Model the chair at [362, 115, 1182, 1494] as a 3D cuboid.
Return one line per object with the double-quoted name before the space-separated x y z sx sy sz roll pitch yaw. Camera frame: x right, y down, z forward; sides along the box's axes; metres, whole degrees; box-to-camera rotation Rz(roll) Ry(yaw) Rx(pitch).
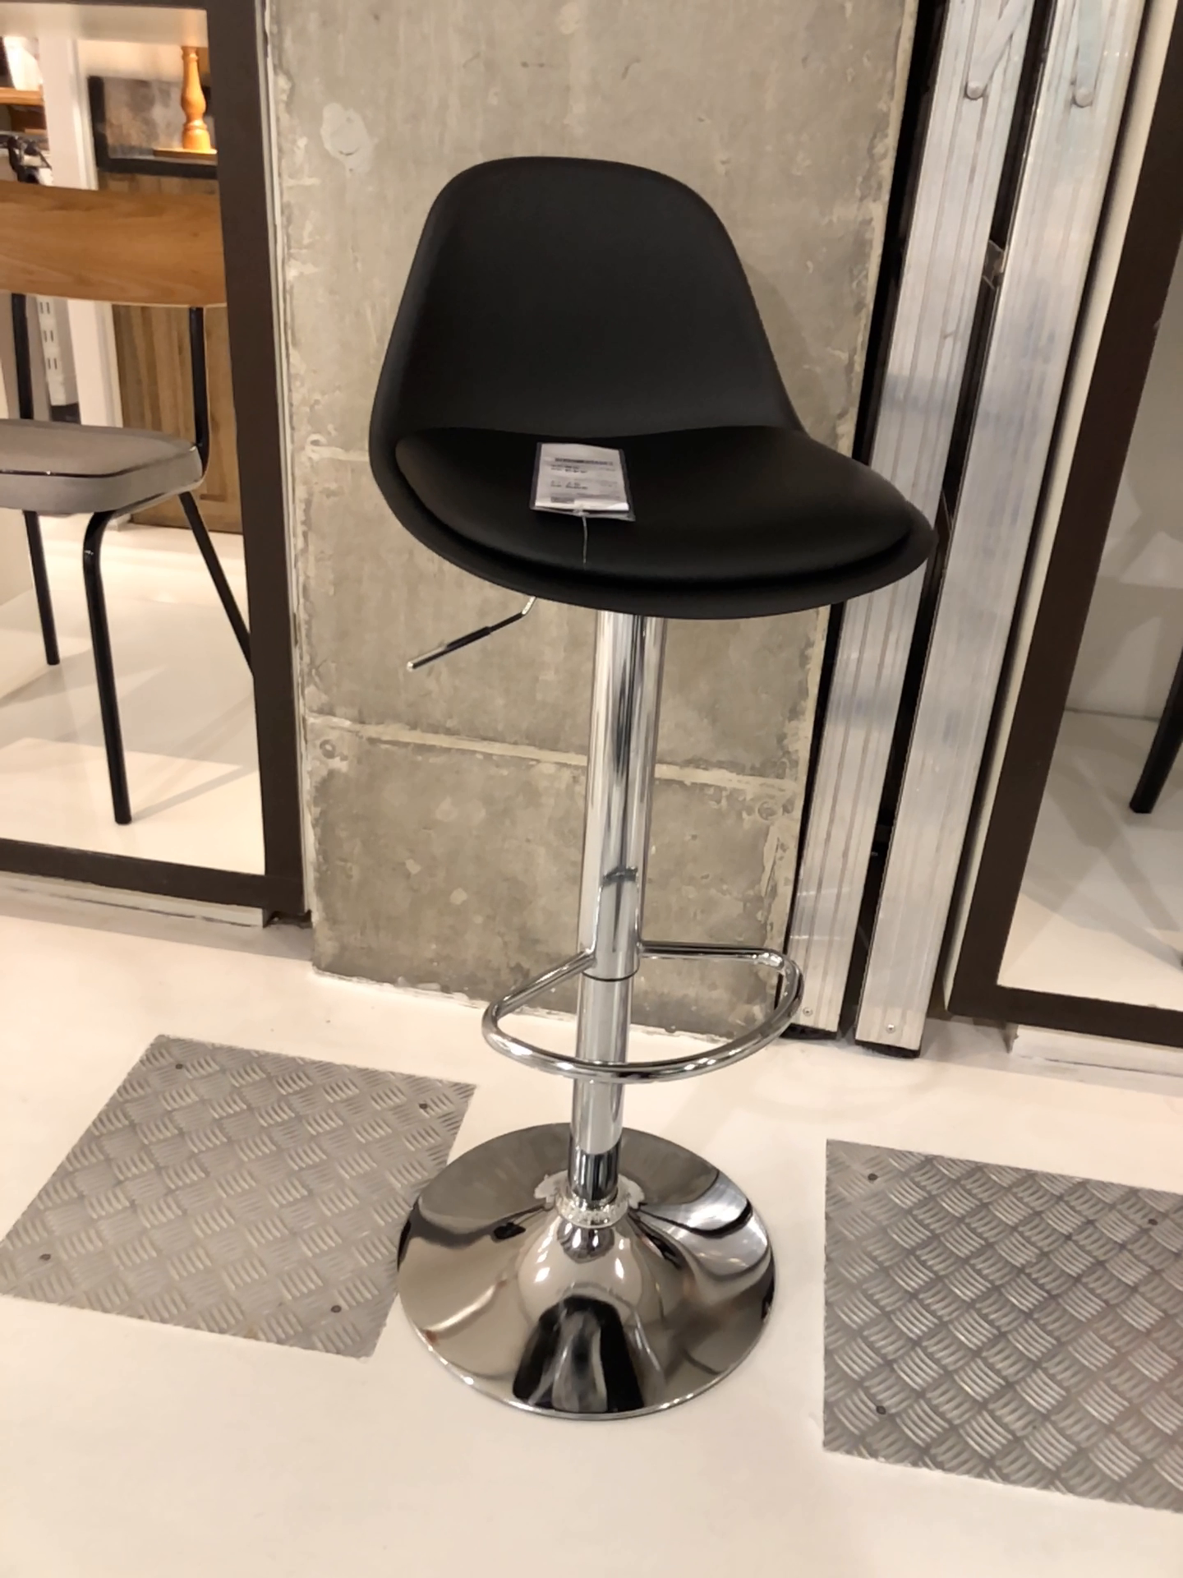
"chair" 0.043 0.014 1.103 0.430 1.012 0.473 -2 27 -12
